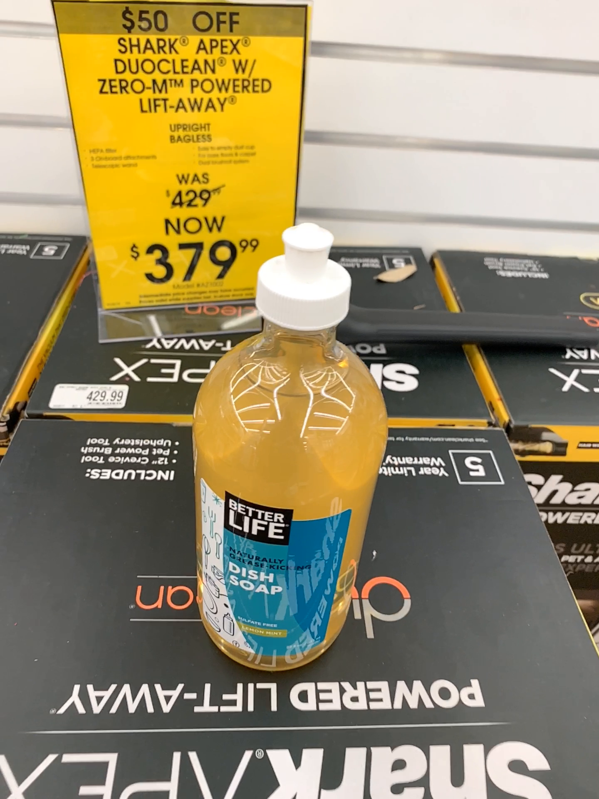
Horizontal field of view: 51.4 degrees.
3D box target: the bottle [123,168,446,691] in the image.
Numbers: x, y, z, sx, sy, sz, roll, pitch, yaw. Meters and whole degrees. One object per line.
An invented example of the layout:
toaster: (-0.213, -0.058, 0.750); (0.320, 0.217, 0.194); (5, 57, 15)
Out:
bottle: (-0.004, 0.024, 0.274); (0.090, 0.209, 0.090); (3, 40, -2)
